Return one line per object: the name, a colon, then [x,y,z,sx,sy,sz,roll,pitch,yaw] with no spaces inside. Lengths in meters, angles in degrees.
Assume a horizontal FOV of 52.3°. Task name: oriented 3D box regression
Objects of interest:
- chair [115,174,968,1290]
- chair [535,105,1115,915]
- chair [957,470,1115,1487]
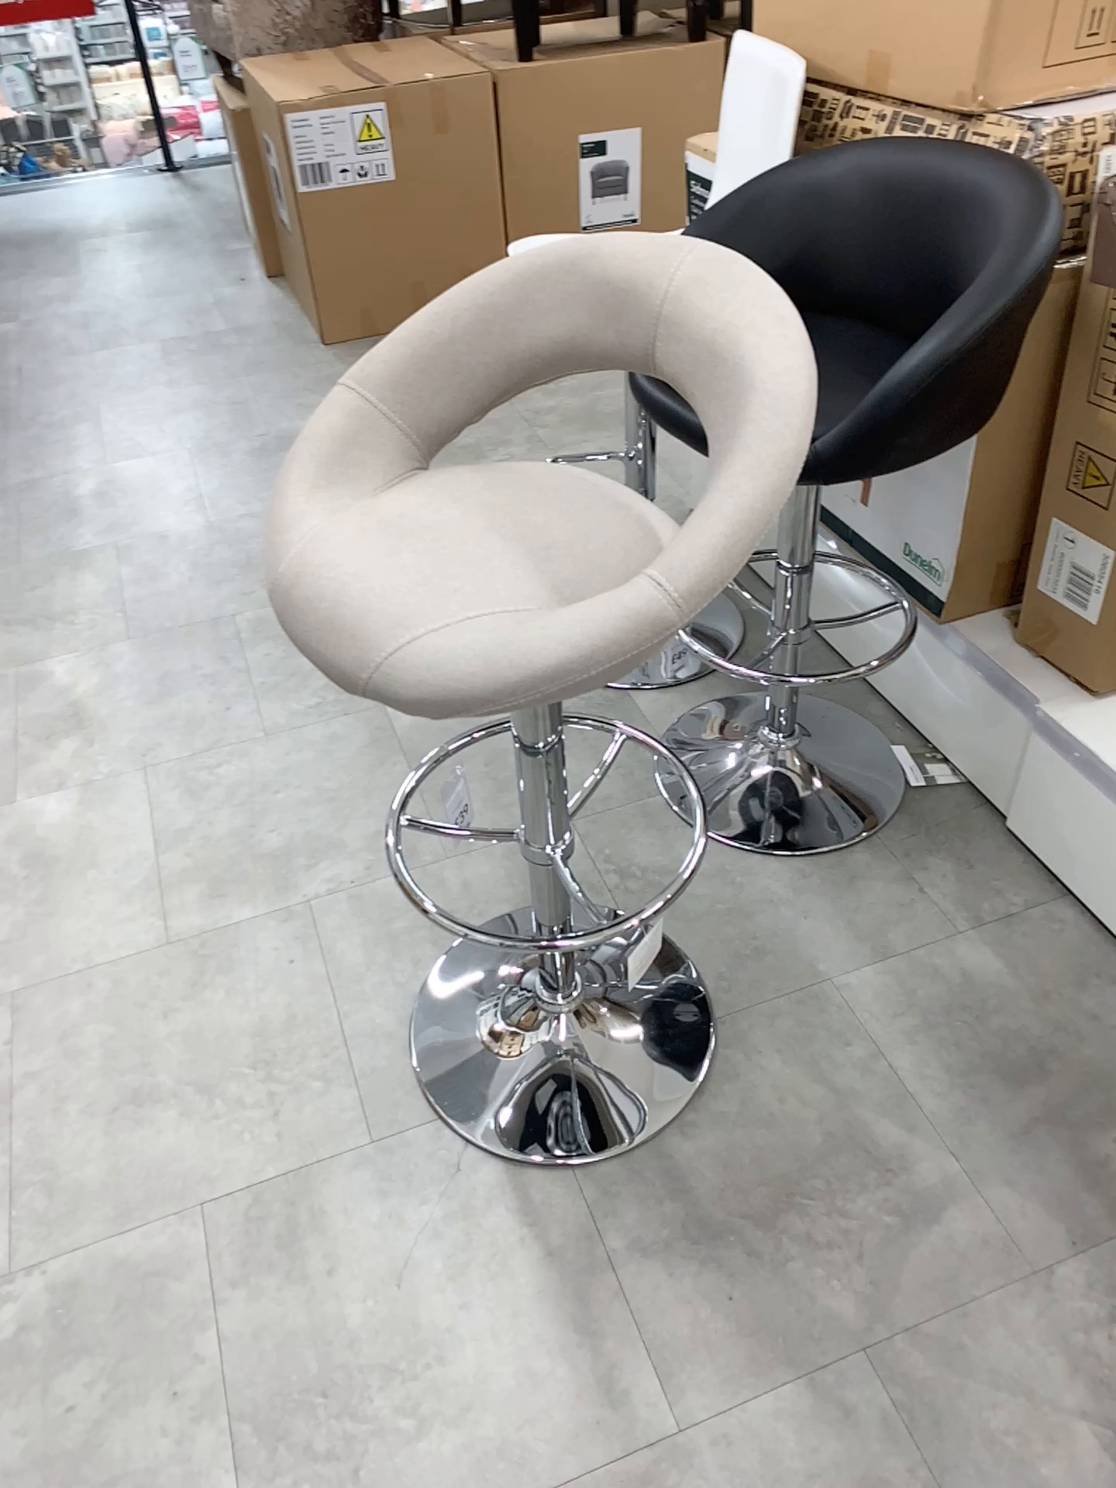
chair: [-0.024,-0.003,1.243,0.484,0.962,0.570,-24,43,-22]
chair: [0.331,-0.330,1.656,0.484,0.932,0.520,-21,42,-20]
chair: [0.728,0.345,0.825,0.543,0.863,0.521,-7,40,-4]
